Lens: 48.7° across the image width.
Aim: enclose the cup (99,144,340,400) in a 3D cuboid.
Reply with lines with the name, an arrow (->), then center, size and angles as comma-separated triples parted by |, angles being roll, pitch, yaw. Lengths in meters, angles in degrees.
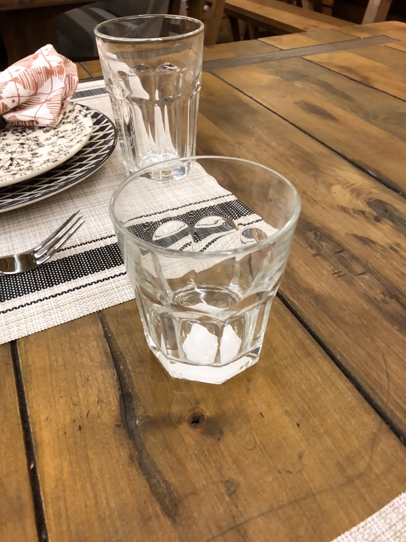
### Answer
cup -> 0.001, -0.004, 0.226 | 0.090, 0.081, 0.087 | -1, 39, 1
